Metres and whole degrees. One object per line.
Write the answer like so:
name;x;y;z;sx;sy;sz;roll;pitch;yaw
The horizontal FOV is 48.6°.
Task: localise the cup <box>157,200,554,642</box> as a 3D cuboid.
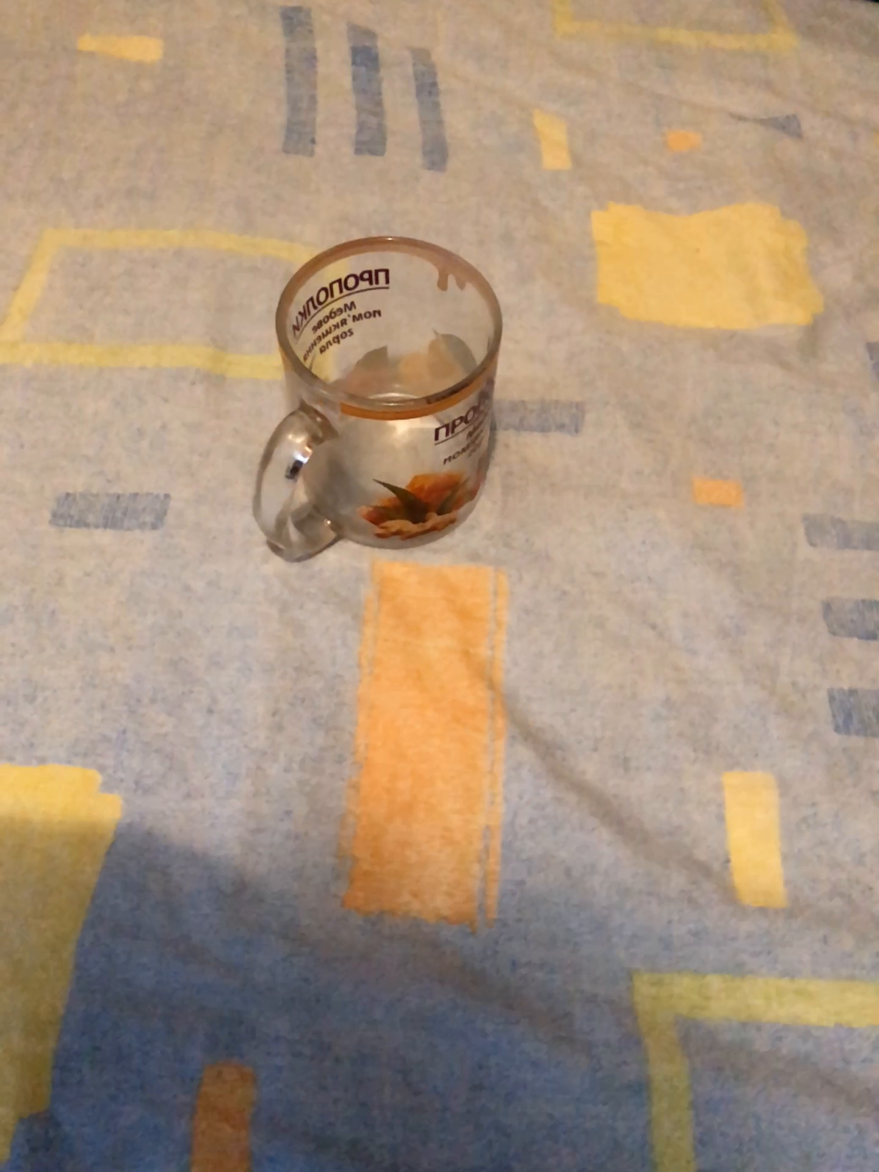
cup;-0.028;-0.061;0.369;0.084;0.092;0.110;33;63;14
